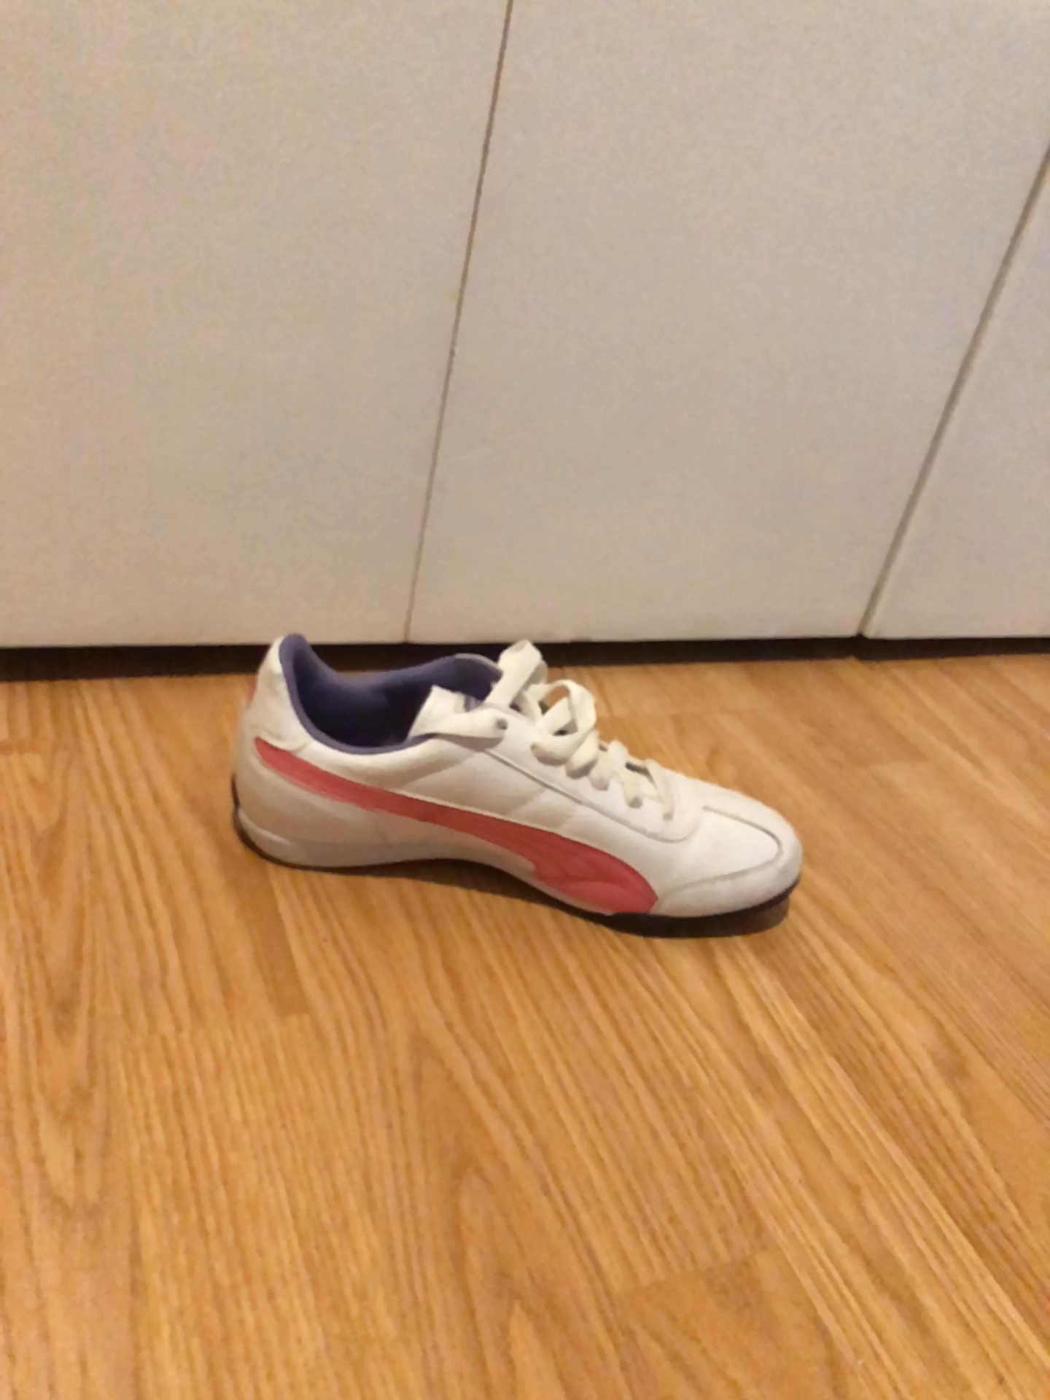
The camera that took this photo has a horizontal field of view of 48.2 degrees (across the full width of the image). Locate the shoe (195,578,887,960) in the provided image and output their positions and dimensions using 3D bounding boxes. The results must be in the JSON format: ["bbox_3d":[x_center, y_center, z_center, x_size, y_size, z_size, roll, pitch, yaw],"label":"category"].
[{"bbox_3d":[0.004,0.028,0.503,0.260,0.080,0.100,10,30,-6],"label":"shoe"}]
